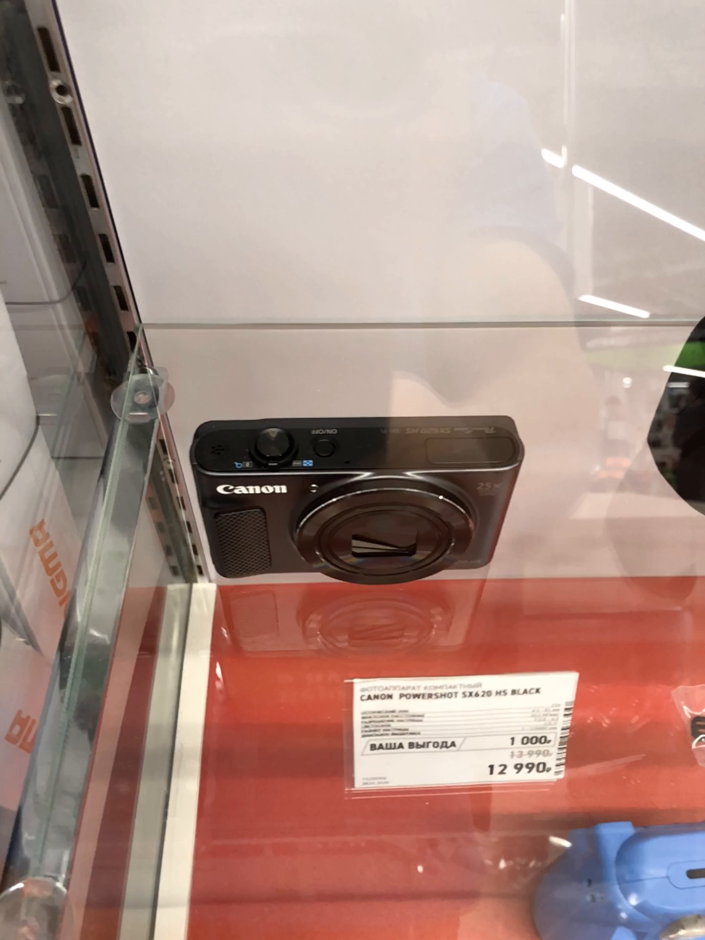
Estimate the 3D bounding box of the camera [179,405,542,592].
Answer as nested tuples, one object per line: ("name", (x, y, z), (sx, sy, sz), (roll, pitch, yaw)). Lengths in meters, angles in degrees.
("camera", (0.002, 0.010, 0.242), (0.098, 0.055, 0.030), (-1, 52, -1))
